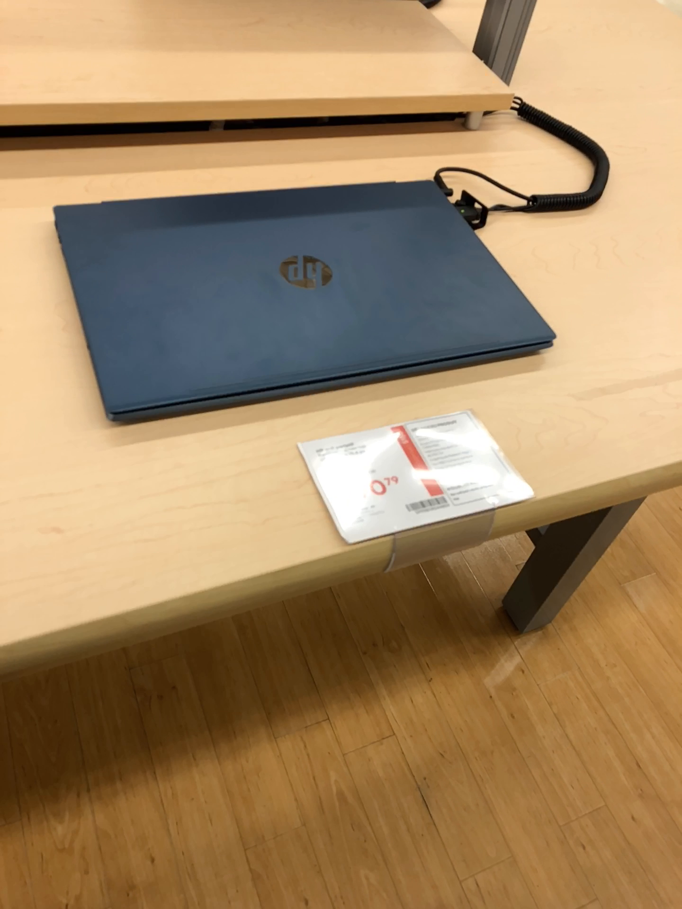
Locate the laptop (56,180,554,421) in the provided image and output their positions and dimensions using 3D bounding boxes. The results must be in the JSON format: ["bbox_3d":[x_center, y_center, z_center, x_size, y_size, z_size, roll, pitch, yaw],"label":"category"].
[{"bbox_3d":[-0.030,-0.145,0.616,0.353,0.012,0.220,-12,57,-19],"label":"laptop"}]
